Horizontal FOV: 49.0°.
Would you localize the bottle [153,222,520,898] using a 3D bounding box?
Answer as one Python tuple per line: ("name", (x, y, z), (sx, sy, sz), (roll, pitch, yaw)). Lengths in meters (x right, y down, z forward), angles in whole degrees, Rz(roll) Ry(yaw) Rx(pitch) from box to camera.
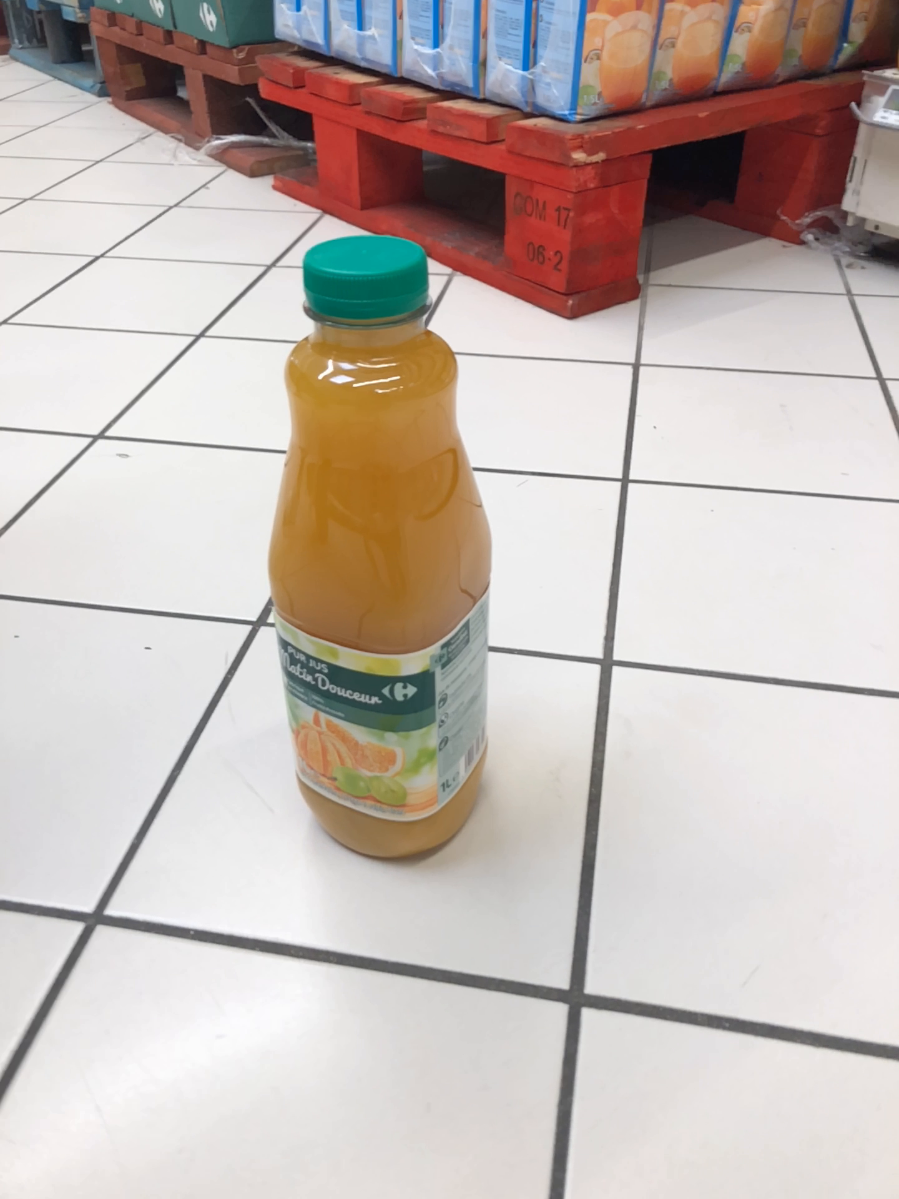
("bottle", (-0.032, -0.008, 0.387), (0.080, 0.239, 0.091), (19, 40, 25))
